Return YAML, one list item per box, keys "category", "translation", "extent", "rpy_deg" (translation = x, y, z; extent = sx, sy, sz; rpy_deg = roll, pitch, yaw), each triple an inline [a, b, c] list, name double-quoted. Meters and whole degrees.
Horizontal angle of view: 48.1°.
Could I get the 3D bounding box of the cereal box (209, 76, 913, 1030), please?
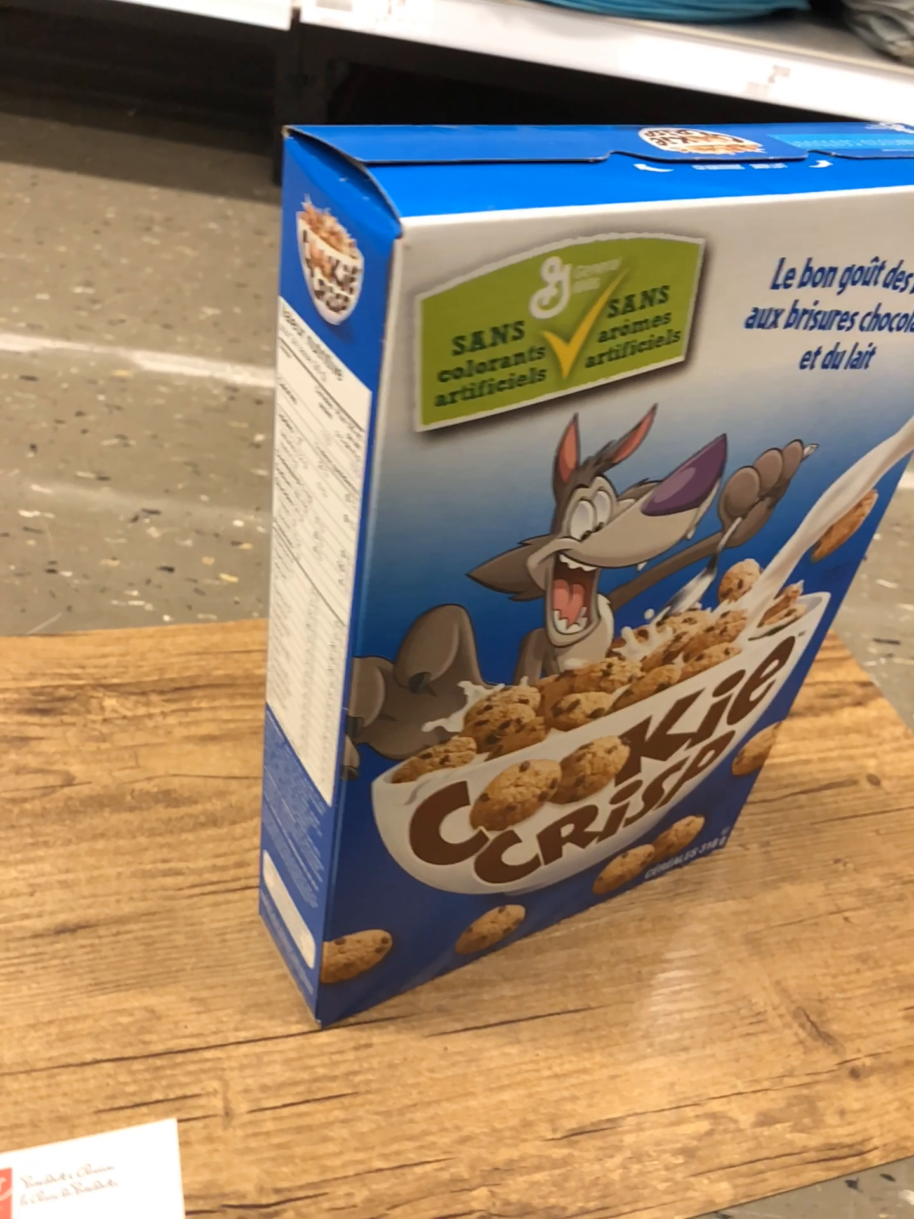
- category: "cereal box"
  translation: [0.034, -0.007, 0.313]
  extent: [0.200, 0.269, 0.060]
  rpy_deg: [-15, 46, -28]
